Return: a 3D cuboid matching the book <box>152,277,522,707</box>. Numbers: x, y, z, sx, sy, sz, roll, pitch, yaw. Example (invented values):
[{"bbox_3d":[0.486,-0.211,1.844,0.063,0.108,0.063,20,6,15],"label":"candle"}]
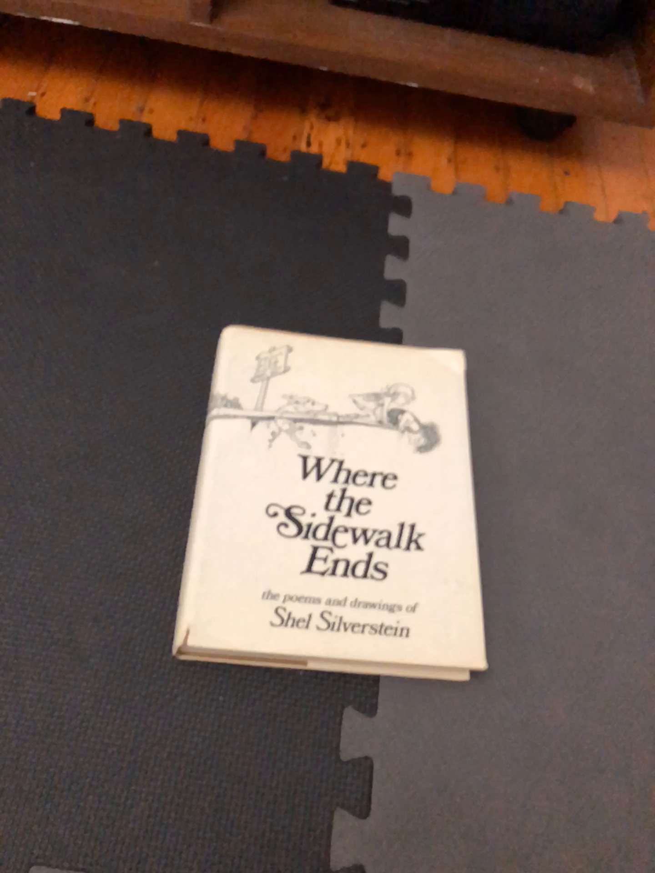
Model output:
[{"bbox_3d":[0.012,0.020,0.479,0.200,0.030,0.281,6,57,-4],"label":"book"}]
